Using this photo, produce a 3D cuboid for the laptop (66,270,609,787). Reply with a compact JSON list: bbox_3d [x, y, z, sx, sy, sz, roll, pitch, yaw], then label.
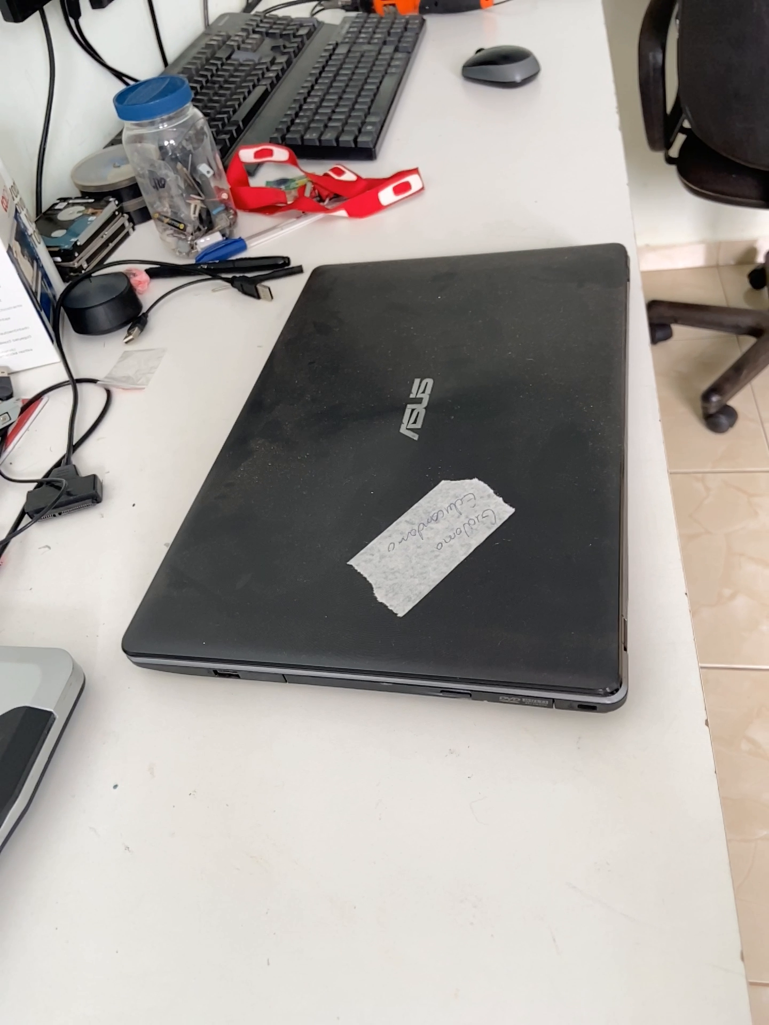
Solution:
[{"bbox_3d":[0.003,-0.037,0.482,0.250,0.007,0.387,2,47,16],"label":"laptop"}]
